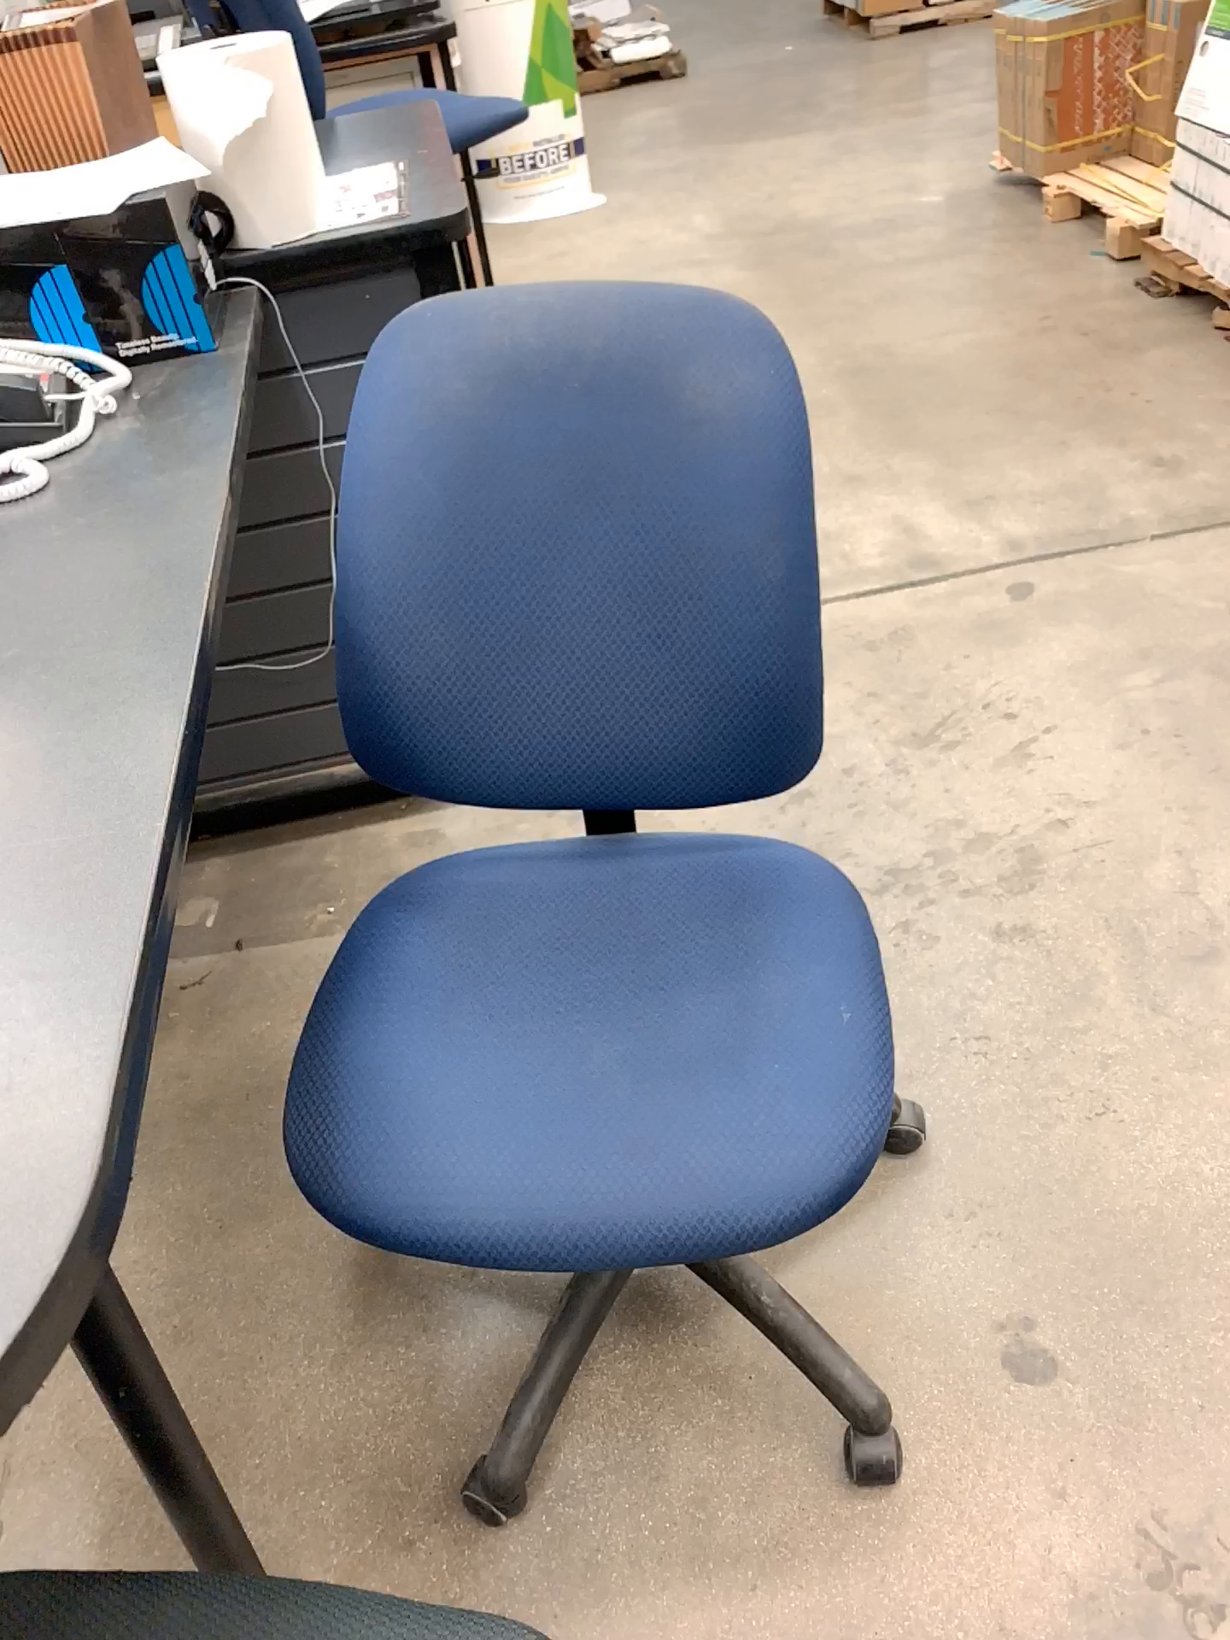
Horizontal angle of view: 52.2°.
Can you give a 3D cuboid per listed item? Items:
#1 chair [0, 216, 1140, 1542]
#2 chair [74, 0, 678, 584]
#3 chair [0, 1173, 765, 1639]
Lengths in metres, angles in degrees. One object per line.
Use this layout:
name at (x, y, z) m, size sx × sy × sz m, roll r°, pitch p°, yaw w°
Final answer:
chair at (-0.051, 0.085, 1.092) m, size 0.697 × 0.889 × 0.665 m, roll -4°, pitch 39°, yaw 7°
chair at (-0.460, -1.322, 2.677) m, size 0.702 × 1.227 × 0.851 m, roll -27°, pitch 42°, yaw -20°
chair at (-0.265, 0.654, 0.579) m, size 0.567 × 0.800 × 0.544 m, roll 1°, pitch 40°, yaw 13°
